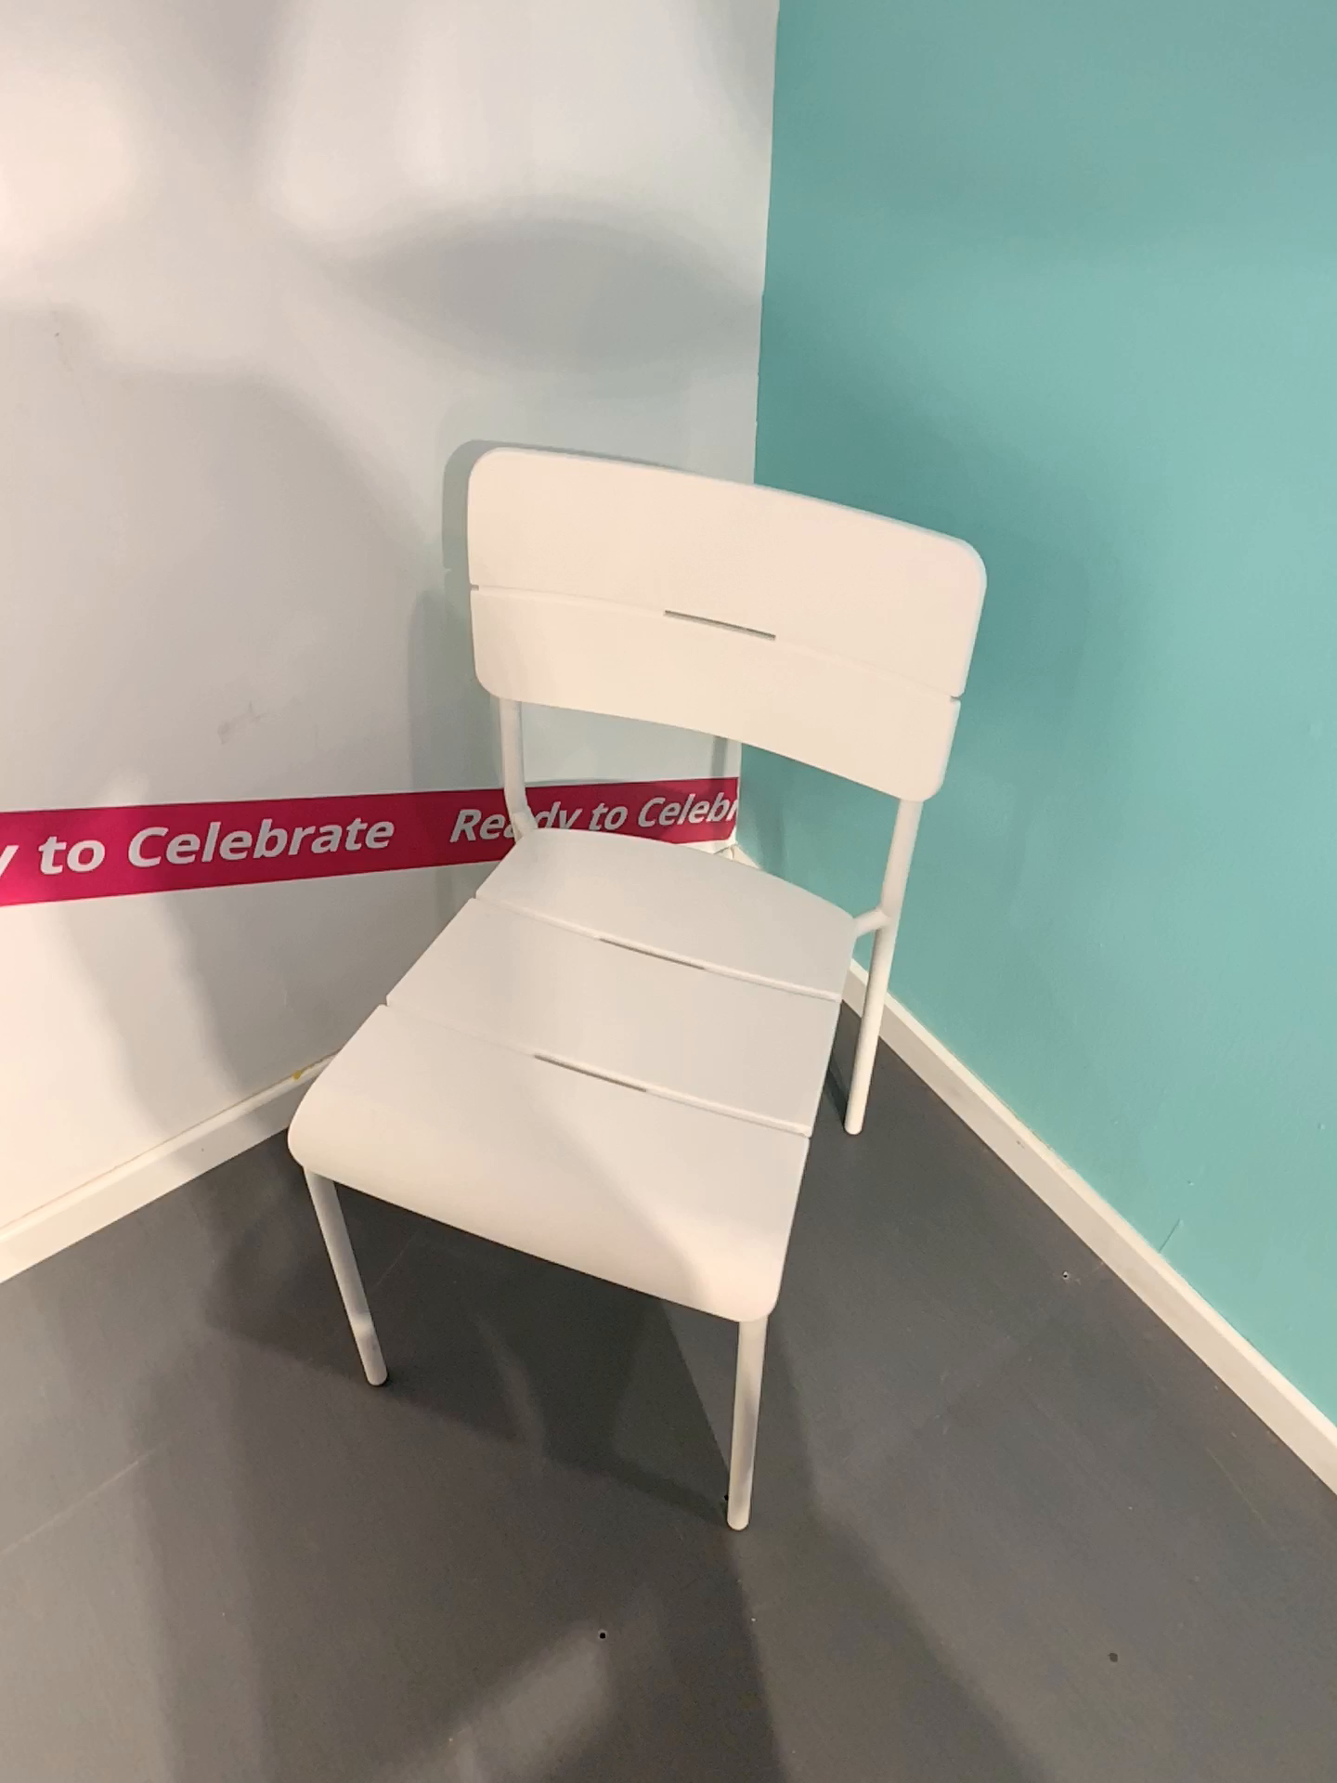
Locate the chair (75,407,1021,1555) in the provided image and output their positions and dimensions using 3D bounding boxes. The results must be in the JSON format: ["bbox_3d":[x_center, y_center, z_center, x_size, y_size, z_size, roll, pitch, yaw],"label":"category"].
[{"bbox_3d":[-0.042,0.119,1.128,0.430,0.808,0.451,16,50,14],"label":"chair"}]
